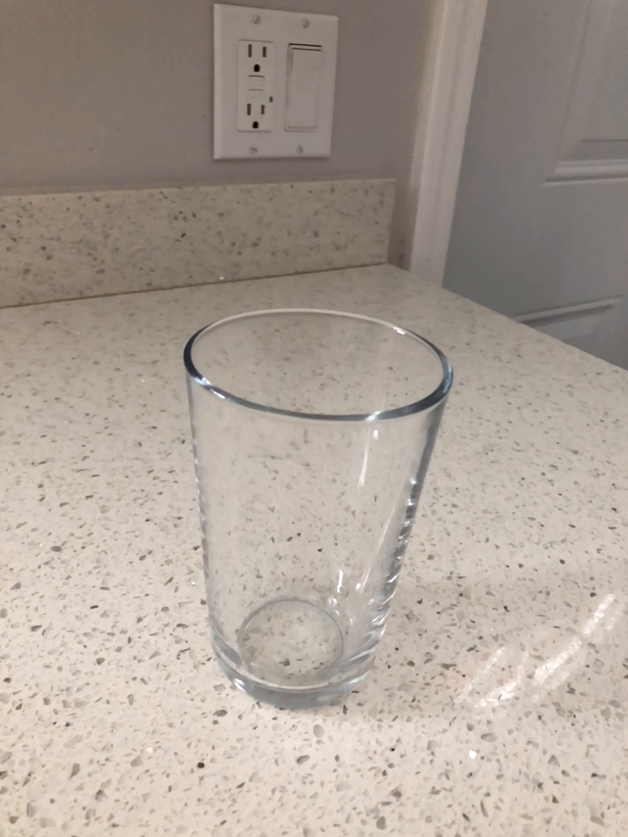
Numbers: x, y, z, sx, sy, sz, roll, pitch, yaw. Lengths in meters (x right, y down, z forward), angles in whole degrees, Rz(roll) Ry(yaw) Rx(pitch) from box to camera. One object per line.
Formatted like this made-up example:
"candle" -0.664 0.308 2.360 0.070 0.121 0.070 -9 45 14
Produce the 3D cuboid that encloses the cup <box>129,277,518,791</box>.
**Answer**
"cup" 0.003 0.029 0.212 0.080 0.114 0.074 3 29 -2
